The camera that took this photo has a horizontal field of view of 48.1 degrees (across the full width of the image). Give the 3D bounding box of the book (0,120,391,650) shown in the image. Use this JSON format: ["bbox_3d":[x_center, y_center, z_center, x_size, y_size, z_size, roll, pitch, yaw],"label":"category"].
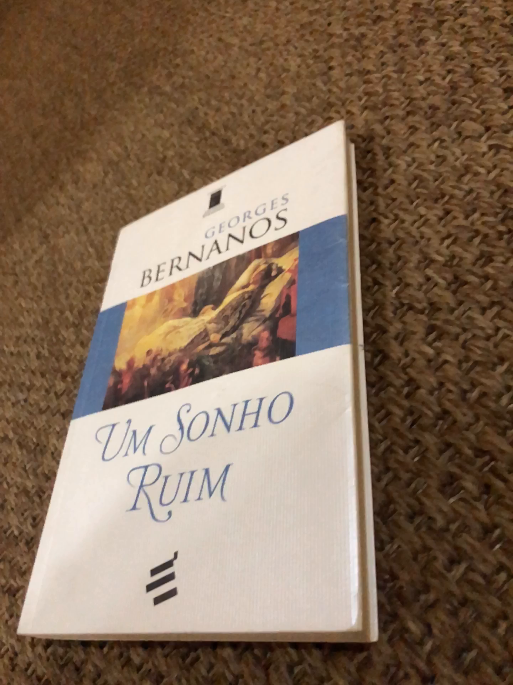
[{"bbox_3d":[-0.023,0.011,0.233,0.140,0.020,0.199,-17,51,30],"label":"book"}]
